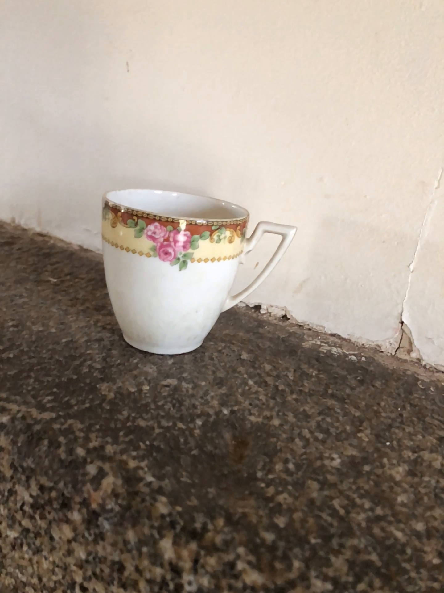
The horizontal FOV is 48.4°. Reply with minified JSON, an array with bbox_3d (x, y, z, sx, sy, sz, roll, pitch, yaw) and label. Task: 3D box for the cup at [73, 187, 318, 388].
[{"bbox_3d":[-0.010,-0.011,0.230,0.090,0.060,0.070,12,20,15],"label":"cup"}]
